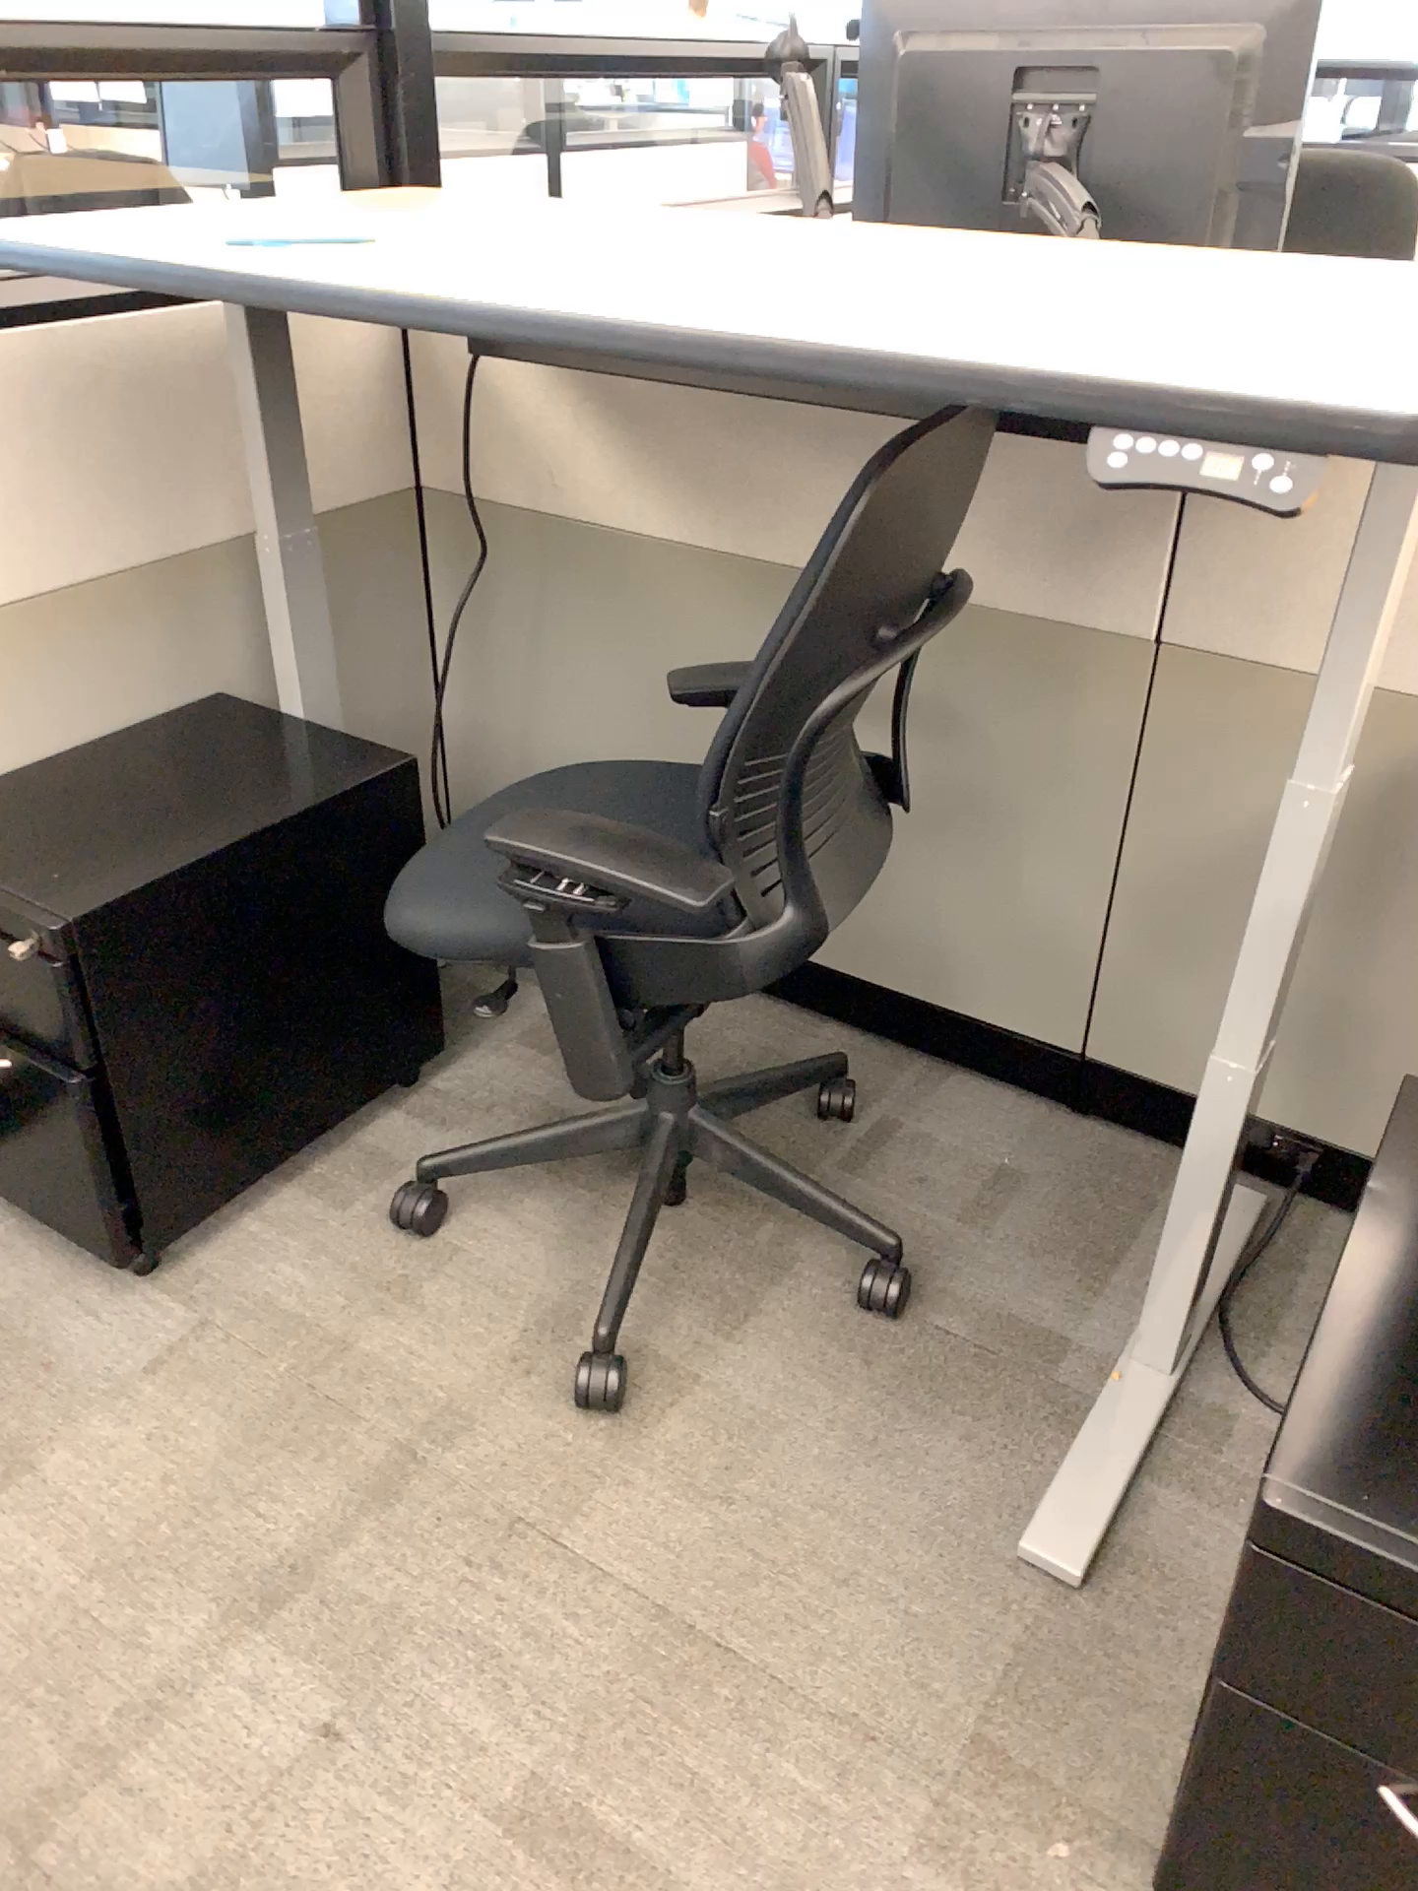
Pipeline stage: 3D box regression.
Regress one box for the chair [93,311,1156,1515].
[{"bbox_3d":[-0.028,-0.109,1.621,0.761,0.954,0.784,14,33,16],"label":"chair"}]
